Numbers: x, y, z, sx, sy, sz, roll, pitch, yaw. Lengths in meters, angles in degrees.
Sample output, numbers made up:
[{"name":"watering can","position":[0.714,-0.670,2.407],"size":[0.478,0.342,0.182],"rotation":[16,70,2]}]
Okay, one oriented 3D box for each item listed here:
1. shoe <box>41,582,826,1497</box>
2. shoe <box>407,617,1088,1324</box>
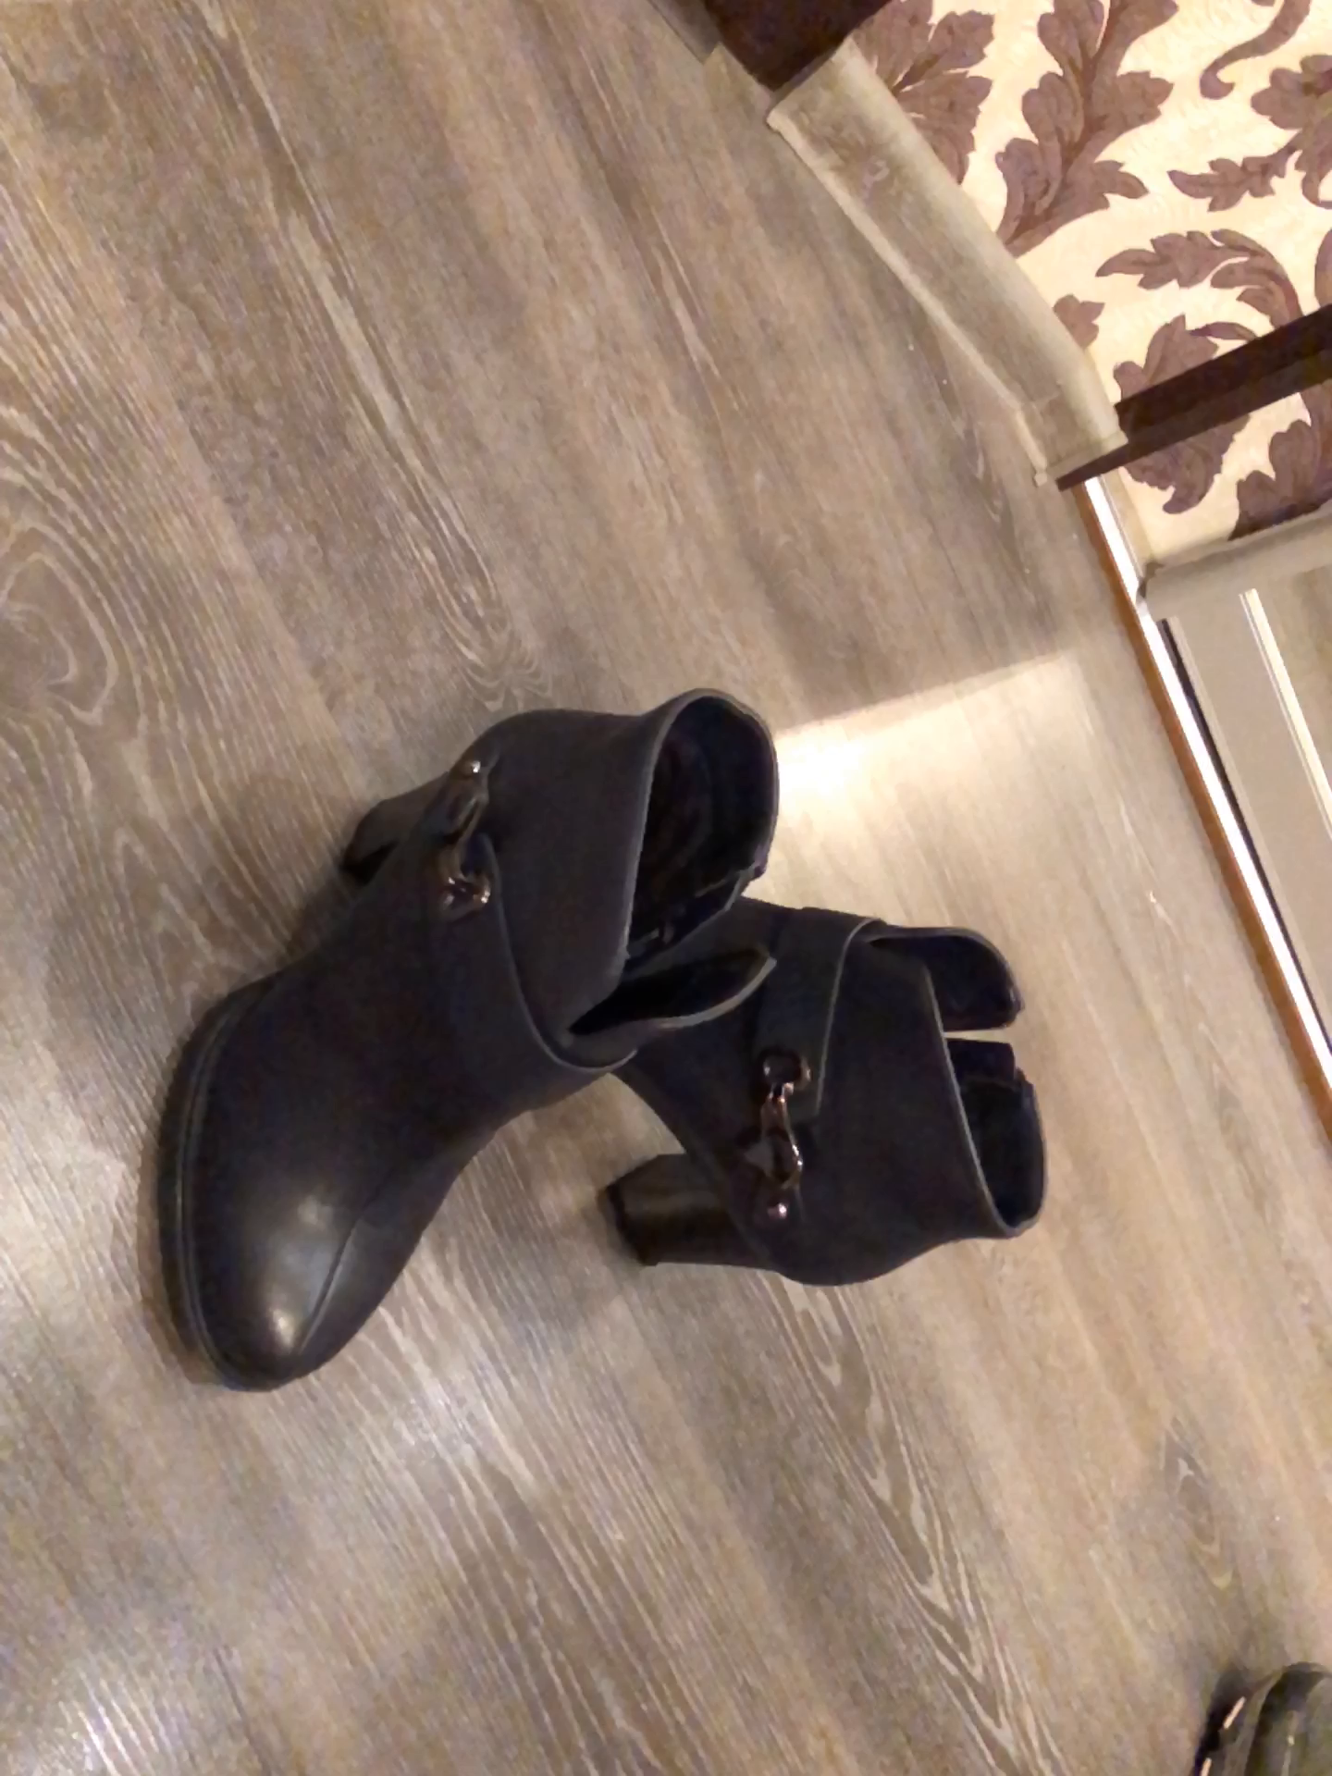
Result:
[{"name":"shoe","position":[-0.069,0.049,0.435],"size":[0.090,0.189,0.211],"rotation":[30,61,-34]},{"name":"shoe","position":[0.021,0.035,0.532],"size":[0.090,0.189,0.210],"rotation":[-15,90,-43]}]
